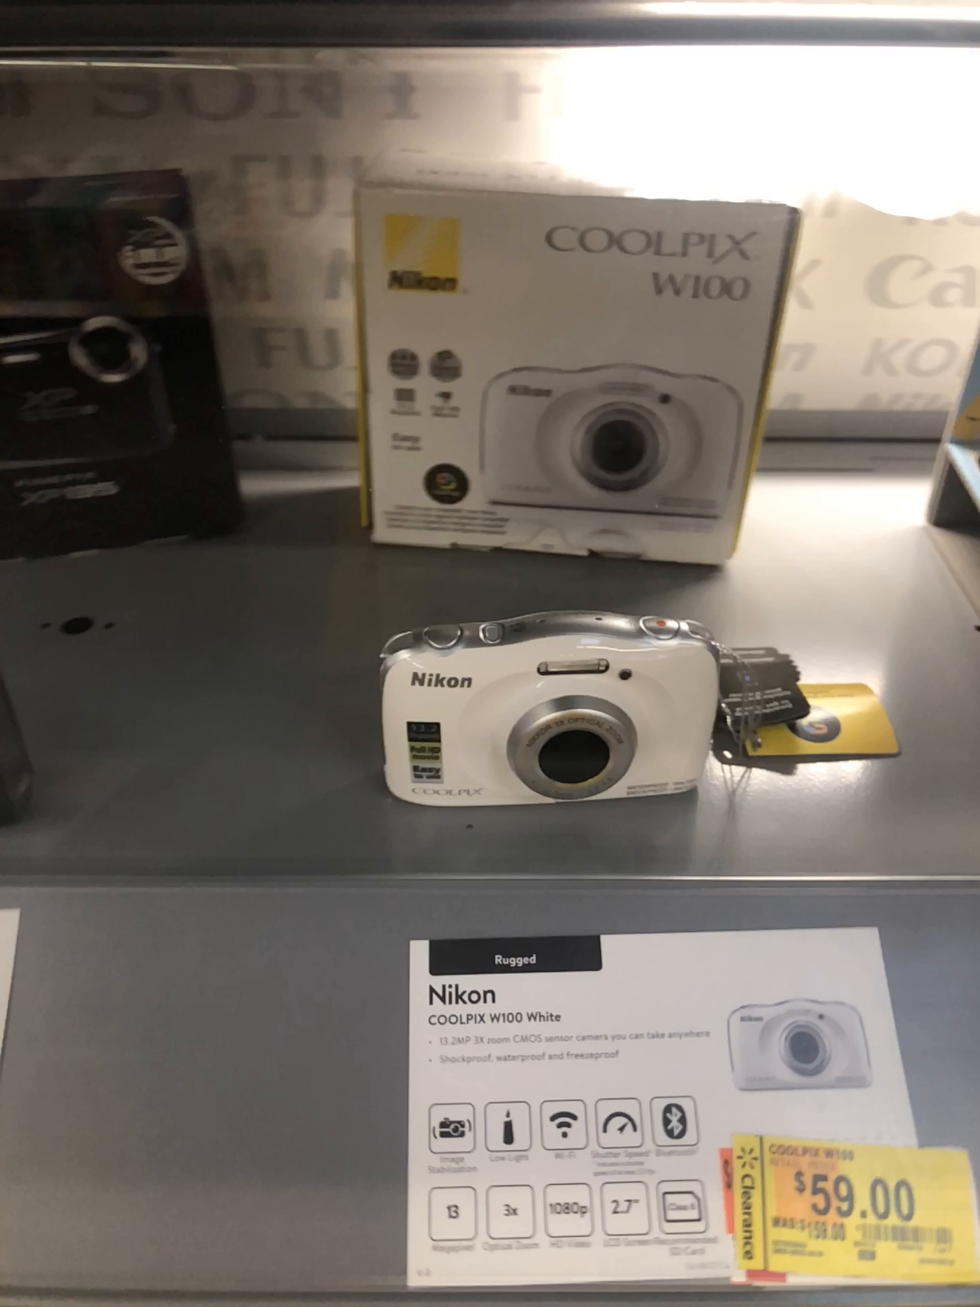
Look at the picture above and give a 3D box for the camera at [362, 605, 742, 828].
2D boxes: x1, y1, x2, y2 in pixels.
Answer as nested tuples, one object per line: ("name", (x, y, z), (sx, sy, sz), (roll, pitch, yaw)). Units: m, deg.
("camera", (0.017, 0.020, 0.345), (0.110, 0.060, 0.030), (-3, 37, -3))
